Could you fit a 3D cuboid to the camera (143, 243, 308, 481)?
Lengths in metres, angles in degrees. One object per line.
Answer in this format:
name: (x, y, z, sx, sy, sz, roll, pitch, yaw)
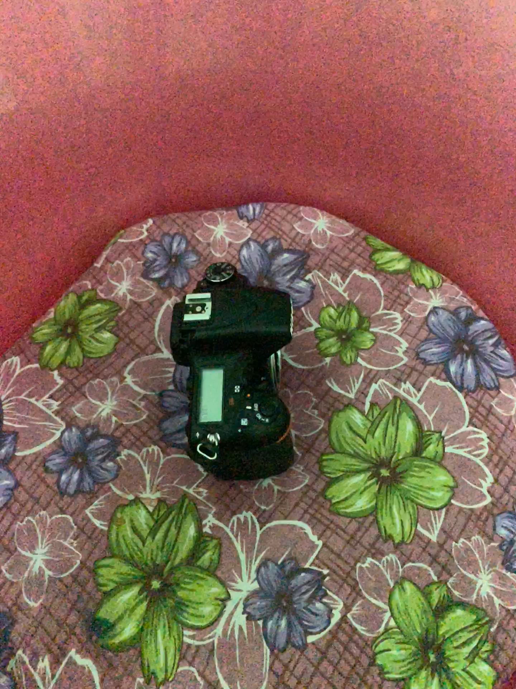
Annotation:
camera: (-0.018, 0.014, 0.367, 0.092, 0.090, 0.140, 0, 64, 0)
